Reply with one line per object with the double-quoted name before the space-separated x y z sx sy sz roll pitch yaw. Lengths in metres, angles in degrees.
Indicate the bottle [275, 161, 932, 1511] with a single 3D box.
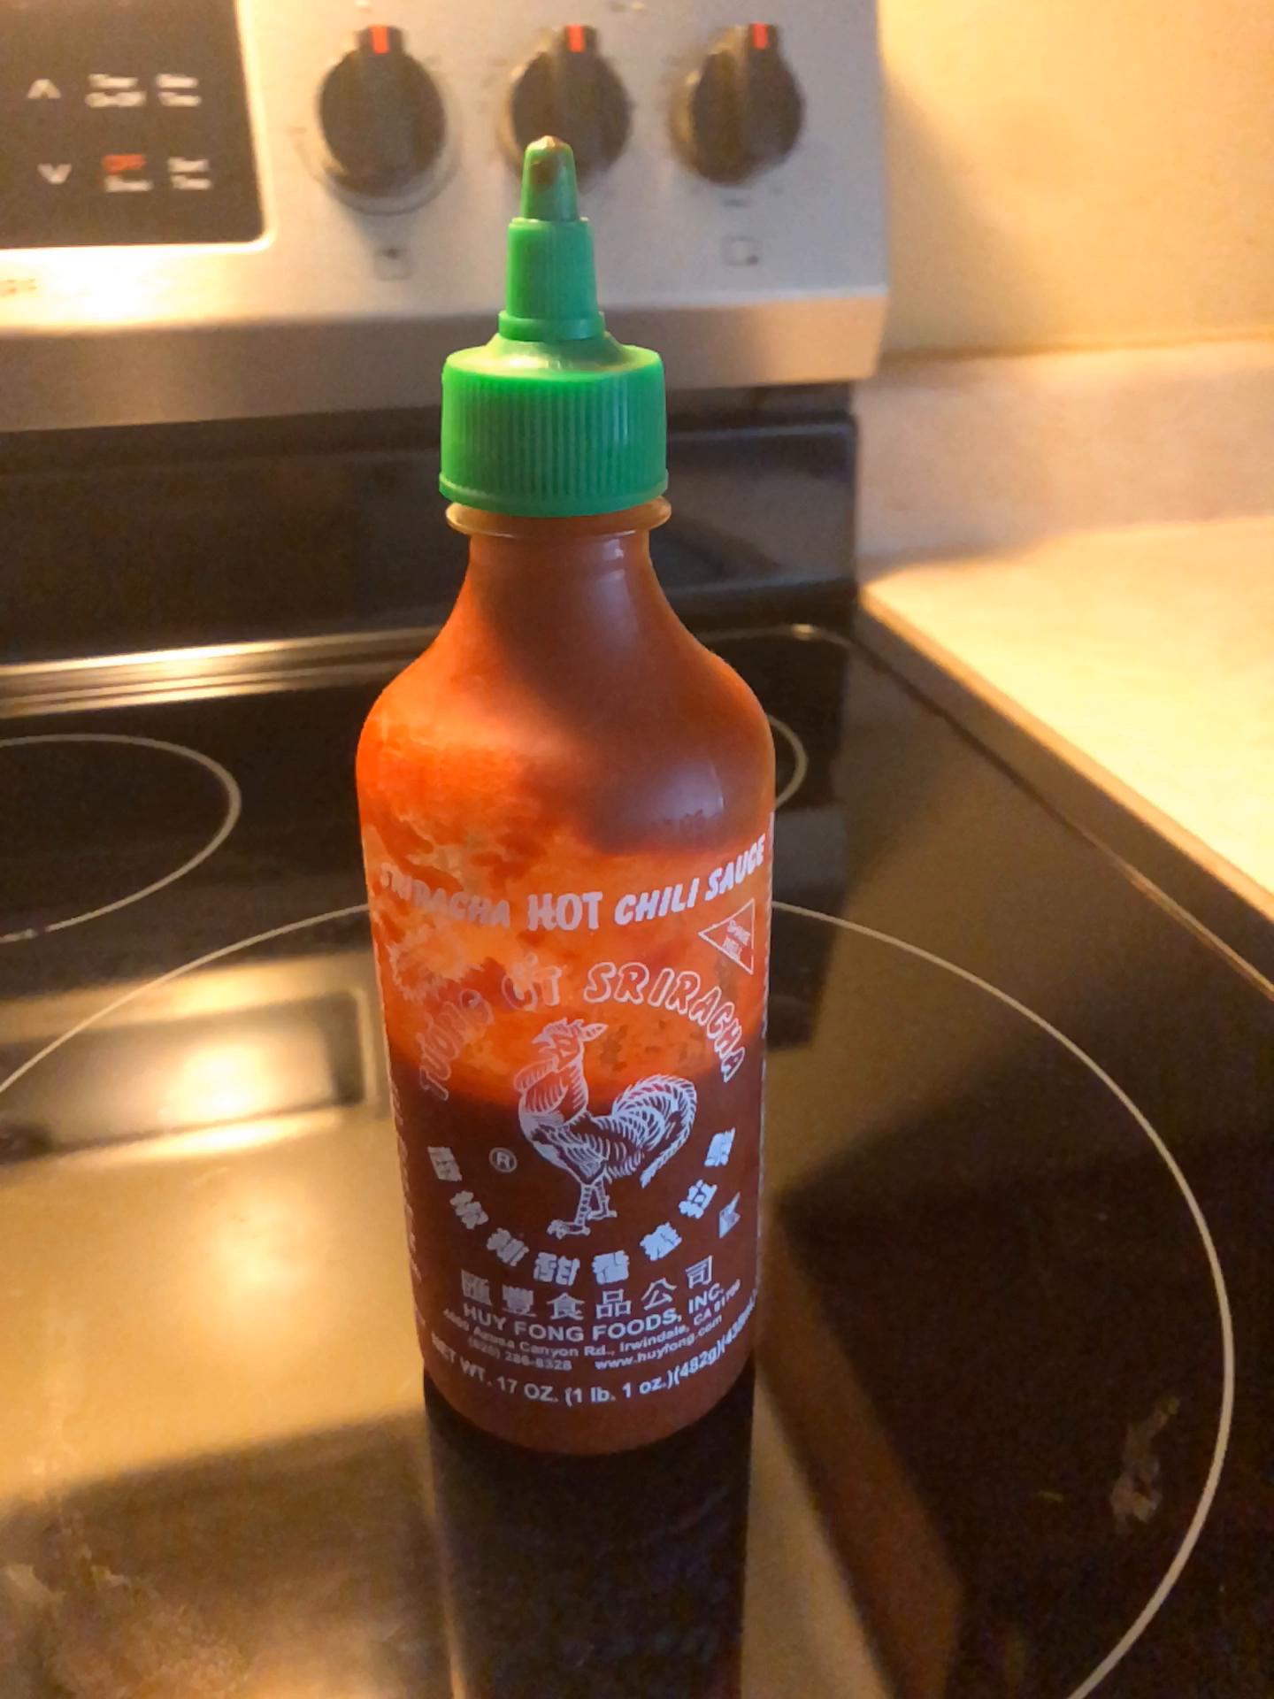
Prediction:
"bottle" -0.006 0.003 0.227 0.070 0.199 0.070 -1 27 0
